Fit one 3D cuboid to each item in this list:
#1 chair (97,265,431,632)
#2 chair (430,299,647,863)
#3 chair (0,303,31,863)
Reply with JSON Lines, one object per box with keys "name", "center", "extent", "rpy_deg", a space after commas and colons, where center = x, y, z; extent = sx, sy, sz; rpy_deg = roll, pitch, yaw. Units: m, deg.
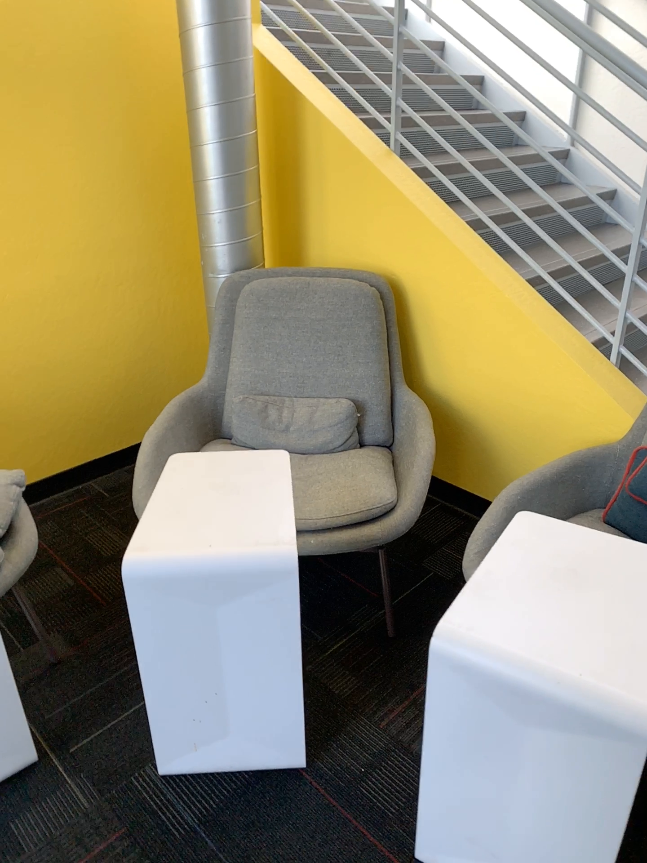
{"name": "chair", "center": [-0.124, 0.006, 2.322], "extent": [0.890, 1.015, 0.844], "rpy_deg": [0, 23, 4]}
{"name": "chair", "center": [0.928, 0.270, 1.640], "extent": [0.881, 0.945, 0.874], "rpy_deg": [-14, 27, -31]}
{"name": "chair", "center": [-1.396, 0.289, 1.536], "extent": [0.872, 0.925, 0.802], "rpy_deg": [15, 30, 35]}
